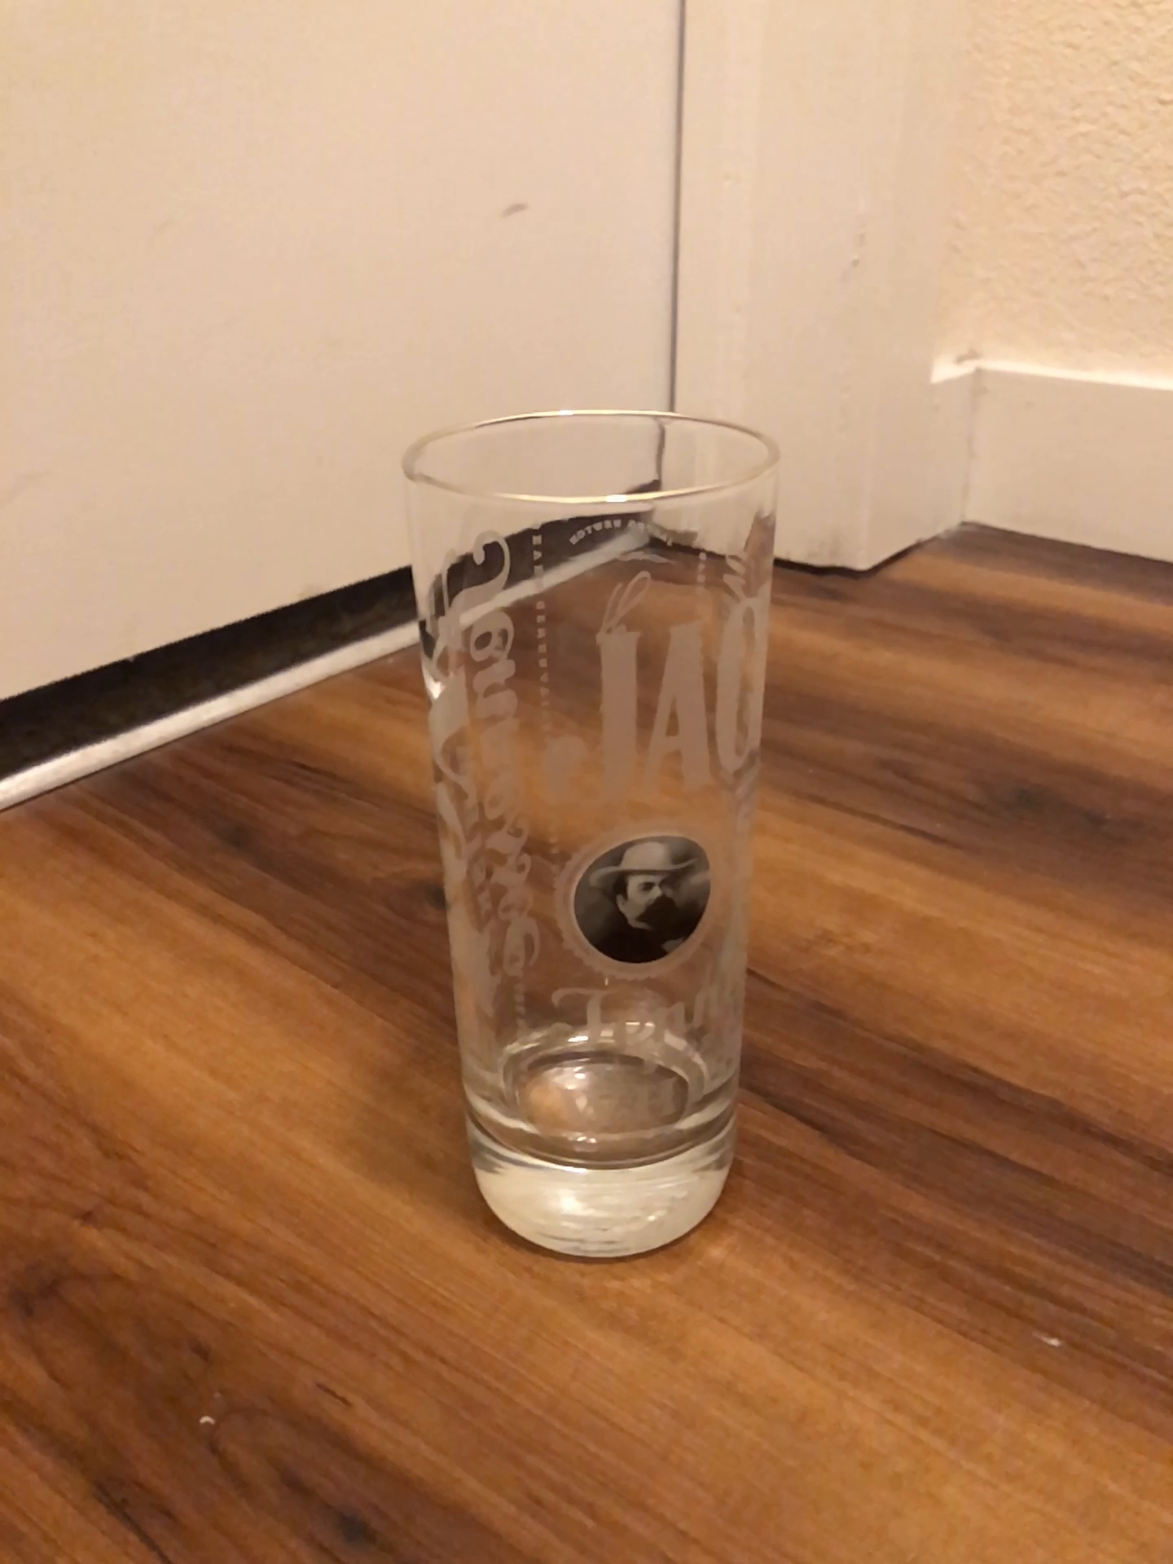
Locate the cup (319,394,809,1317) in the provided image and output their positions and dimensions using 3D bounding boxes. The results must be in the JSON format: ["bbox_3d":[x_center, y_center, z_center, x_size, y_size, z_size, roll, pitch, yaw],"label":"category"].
[{"bbox_3d":[-0.006,0.013,0.241,0.067,0.150,0.068,-1,27,0],"label":"cup"}]
